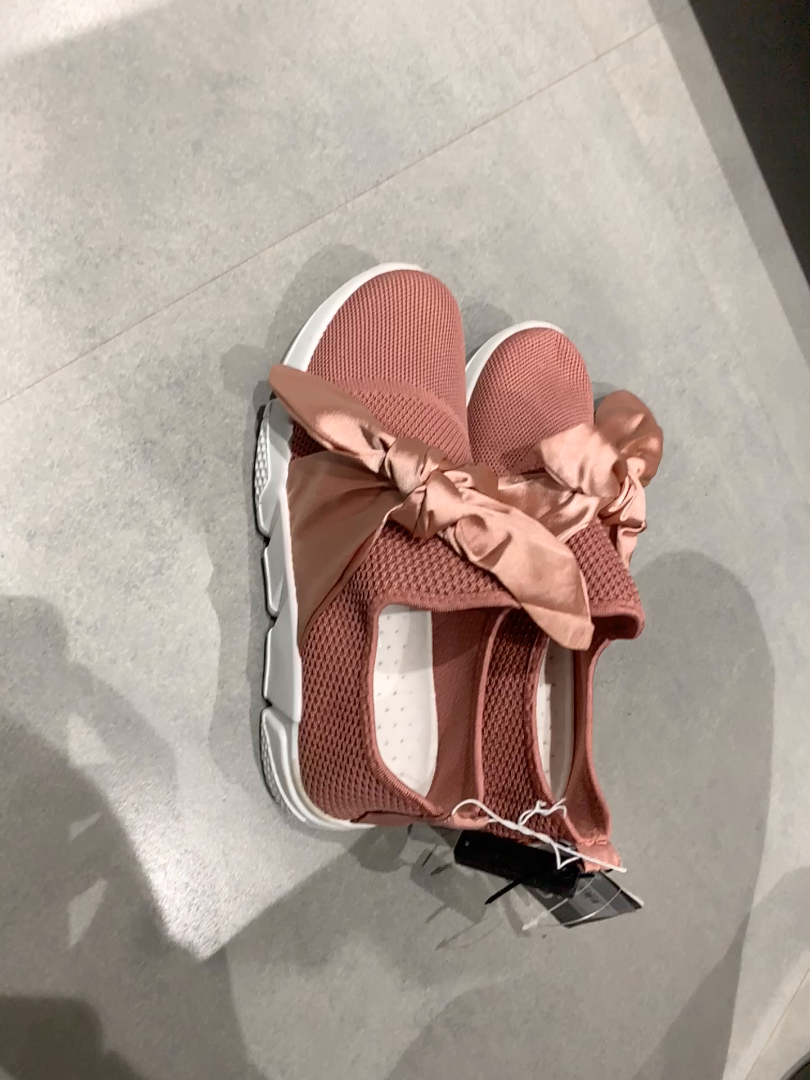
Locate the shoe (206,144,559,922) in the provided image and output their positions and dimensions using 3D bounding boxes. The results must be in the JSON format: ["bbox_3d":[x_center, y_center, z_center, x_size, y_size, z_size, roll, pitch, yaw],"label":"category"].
[{"bbox_3d":[-0.012,-0.001,0.359,0.110,0.100,0.270,3,87,-31],"label":"shoe"}]

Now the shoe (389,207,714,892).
[{"bbox_3d":[0.068,0.005,0.398,0.110,0.100,0.270,3,87,-31],"label":"shoe"}]
